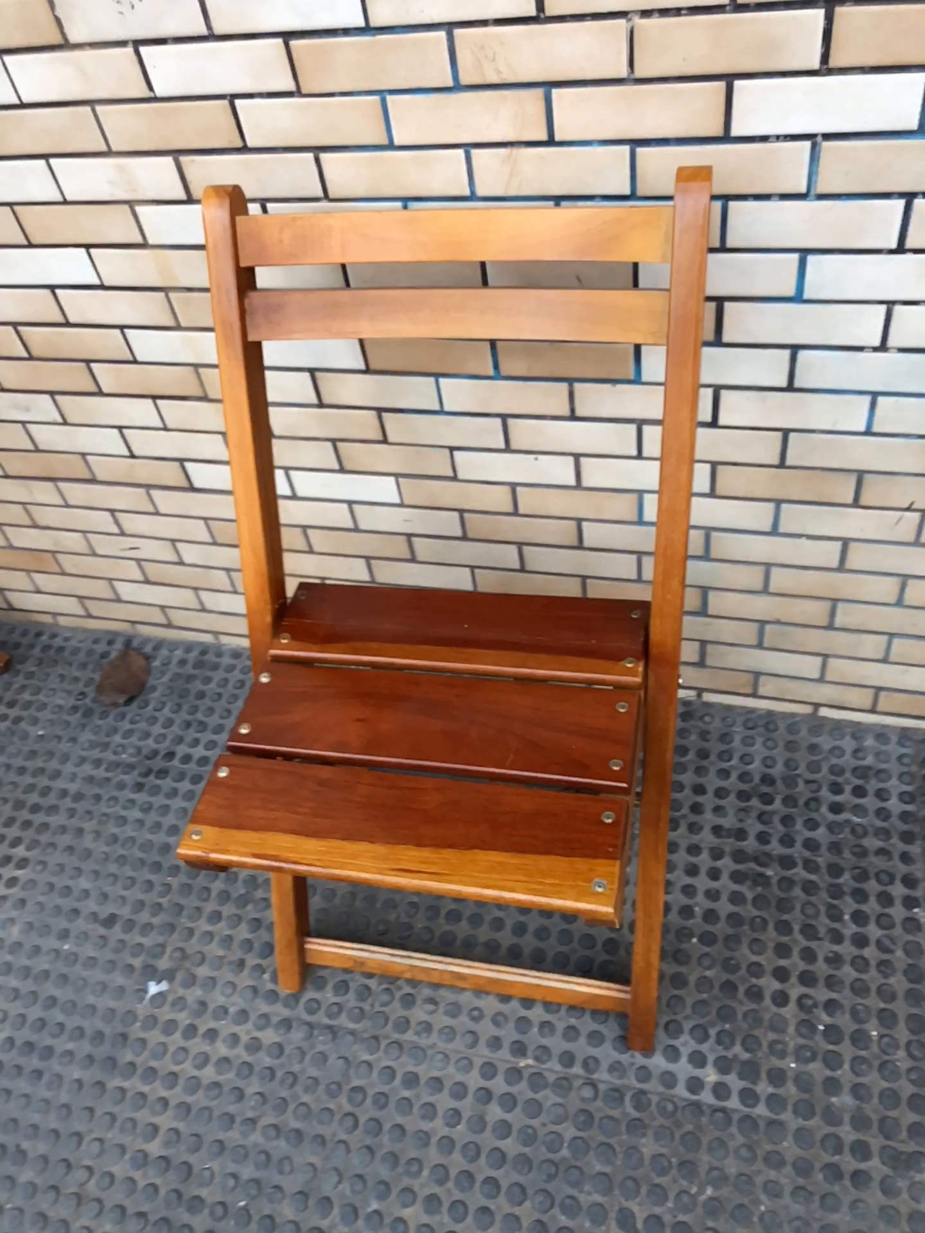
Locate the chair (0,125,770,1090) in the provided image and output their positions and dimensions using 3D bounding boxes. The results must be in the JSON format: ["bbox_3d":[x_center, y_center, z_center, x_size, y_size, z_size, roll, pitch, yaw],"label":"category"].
[{"bbox_3d":[0.008,0.033,0.976,0.470,0.765,0.493,4,49,12],"label":"chair"}]
